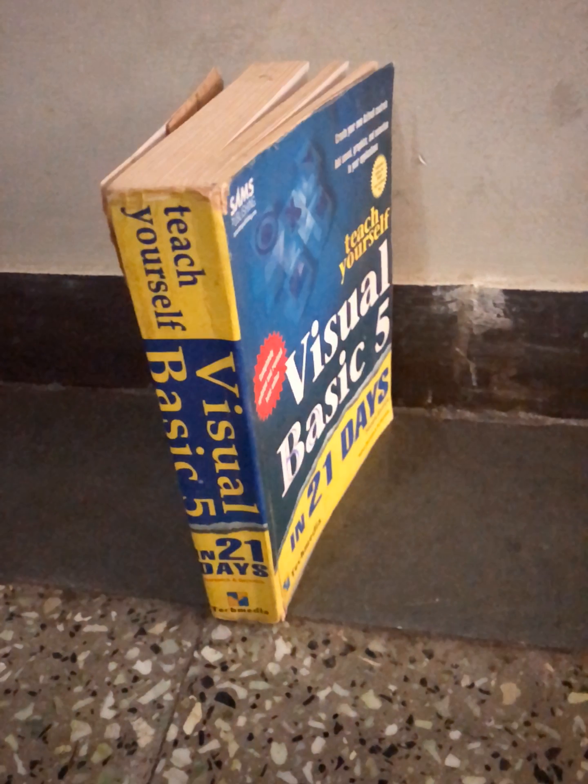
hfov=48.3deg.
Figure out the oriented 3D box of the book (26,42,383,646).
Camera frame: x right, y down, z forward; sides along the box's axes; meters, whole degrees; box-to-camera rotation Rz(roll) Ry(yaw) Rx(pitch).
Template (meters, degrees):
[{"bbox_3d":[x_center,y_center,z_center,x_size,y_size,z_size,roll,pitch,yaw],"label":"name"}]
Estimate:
[{"bbox_3d":[-0.009,-0.042,0.365,0.060,0.229,0.251,3,37,18],"label":"book"}]
